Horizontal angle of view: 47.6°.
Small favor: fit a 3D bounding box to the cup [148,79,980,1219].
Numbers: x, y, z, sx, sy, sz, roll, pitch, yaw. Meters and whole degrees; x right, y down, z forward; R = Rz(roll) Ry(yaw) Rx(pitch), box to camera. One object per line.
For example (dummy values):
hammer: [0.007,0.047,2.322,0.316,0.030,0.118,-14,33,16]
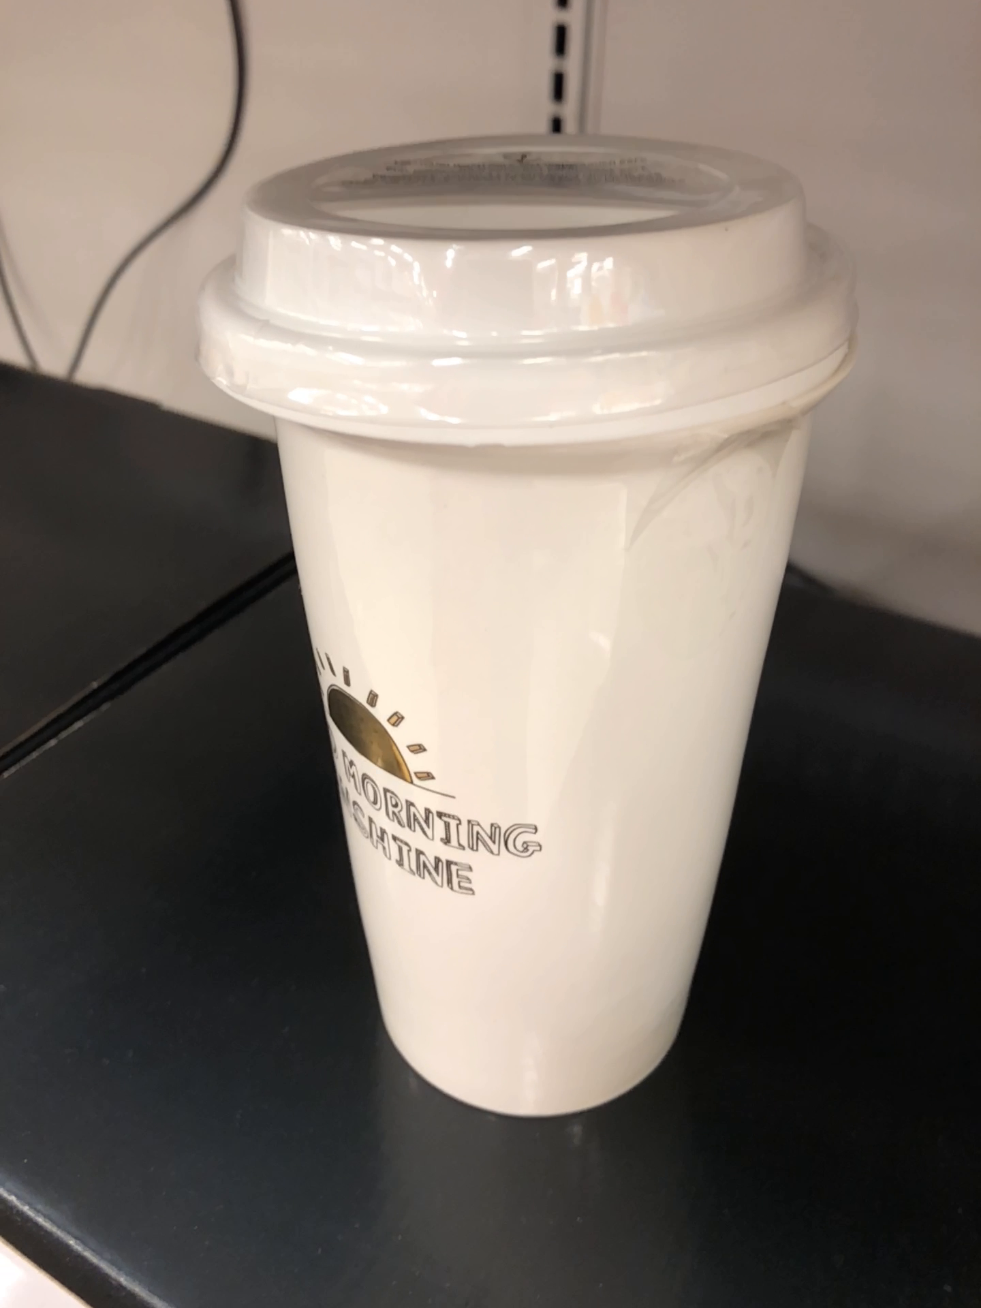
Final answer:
cup: [0.009,-0.005,0.190,0.100,0.149,0.100,1,36,0]
